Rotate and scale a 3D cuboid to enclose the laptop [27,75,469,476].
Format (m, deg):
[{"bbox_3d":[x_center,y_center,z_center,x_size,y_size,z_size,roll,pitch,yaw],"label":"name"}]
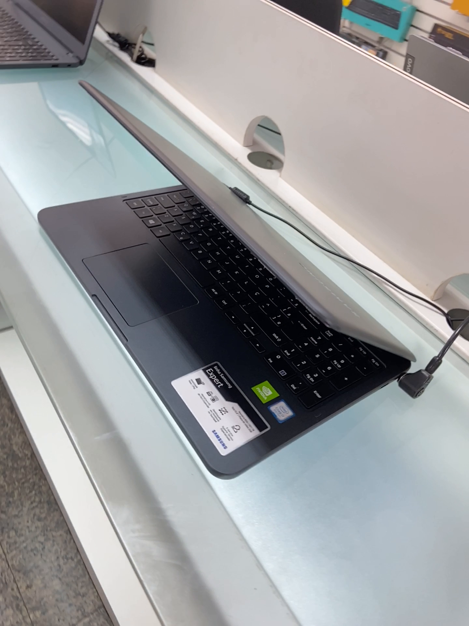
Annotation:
[{"bbox_3d":[-0.009,-0.083,0.480,0.239,0.140,0.377,-21,54,-32],"label":"laptop"}]
